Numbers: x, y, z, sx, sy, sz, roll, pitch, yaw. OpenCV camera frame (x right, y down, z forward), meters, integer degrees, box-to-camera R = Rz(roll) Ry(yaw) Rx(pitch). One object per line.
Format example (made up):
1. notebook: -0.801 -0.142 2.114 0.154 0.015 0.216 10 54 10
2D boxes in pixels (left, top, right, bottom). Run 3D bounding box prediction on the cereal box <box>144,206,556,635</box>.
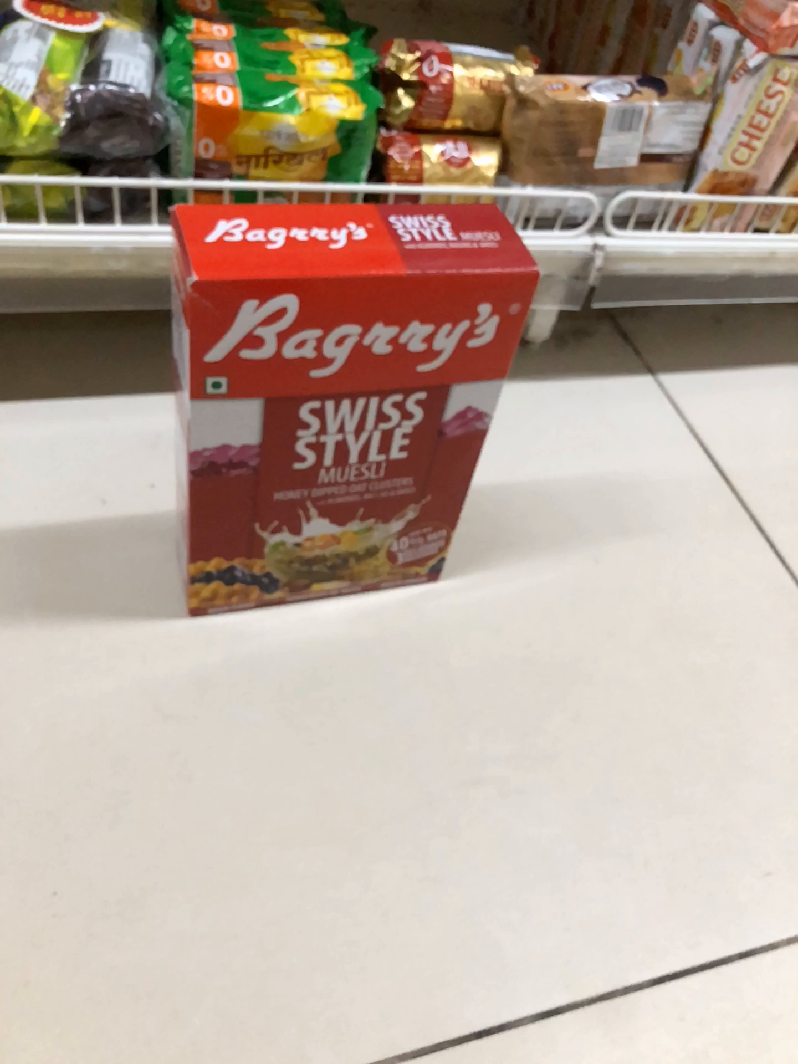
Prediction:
1. cereal box: -0.043 -0.054 0.521 0.190 0.258 0.060 -7 50 -19
